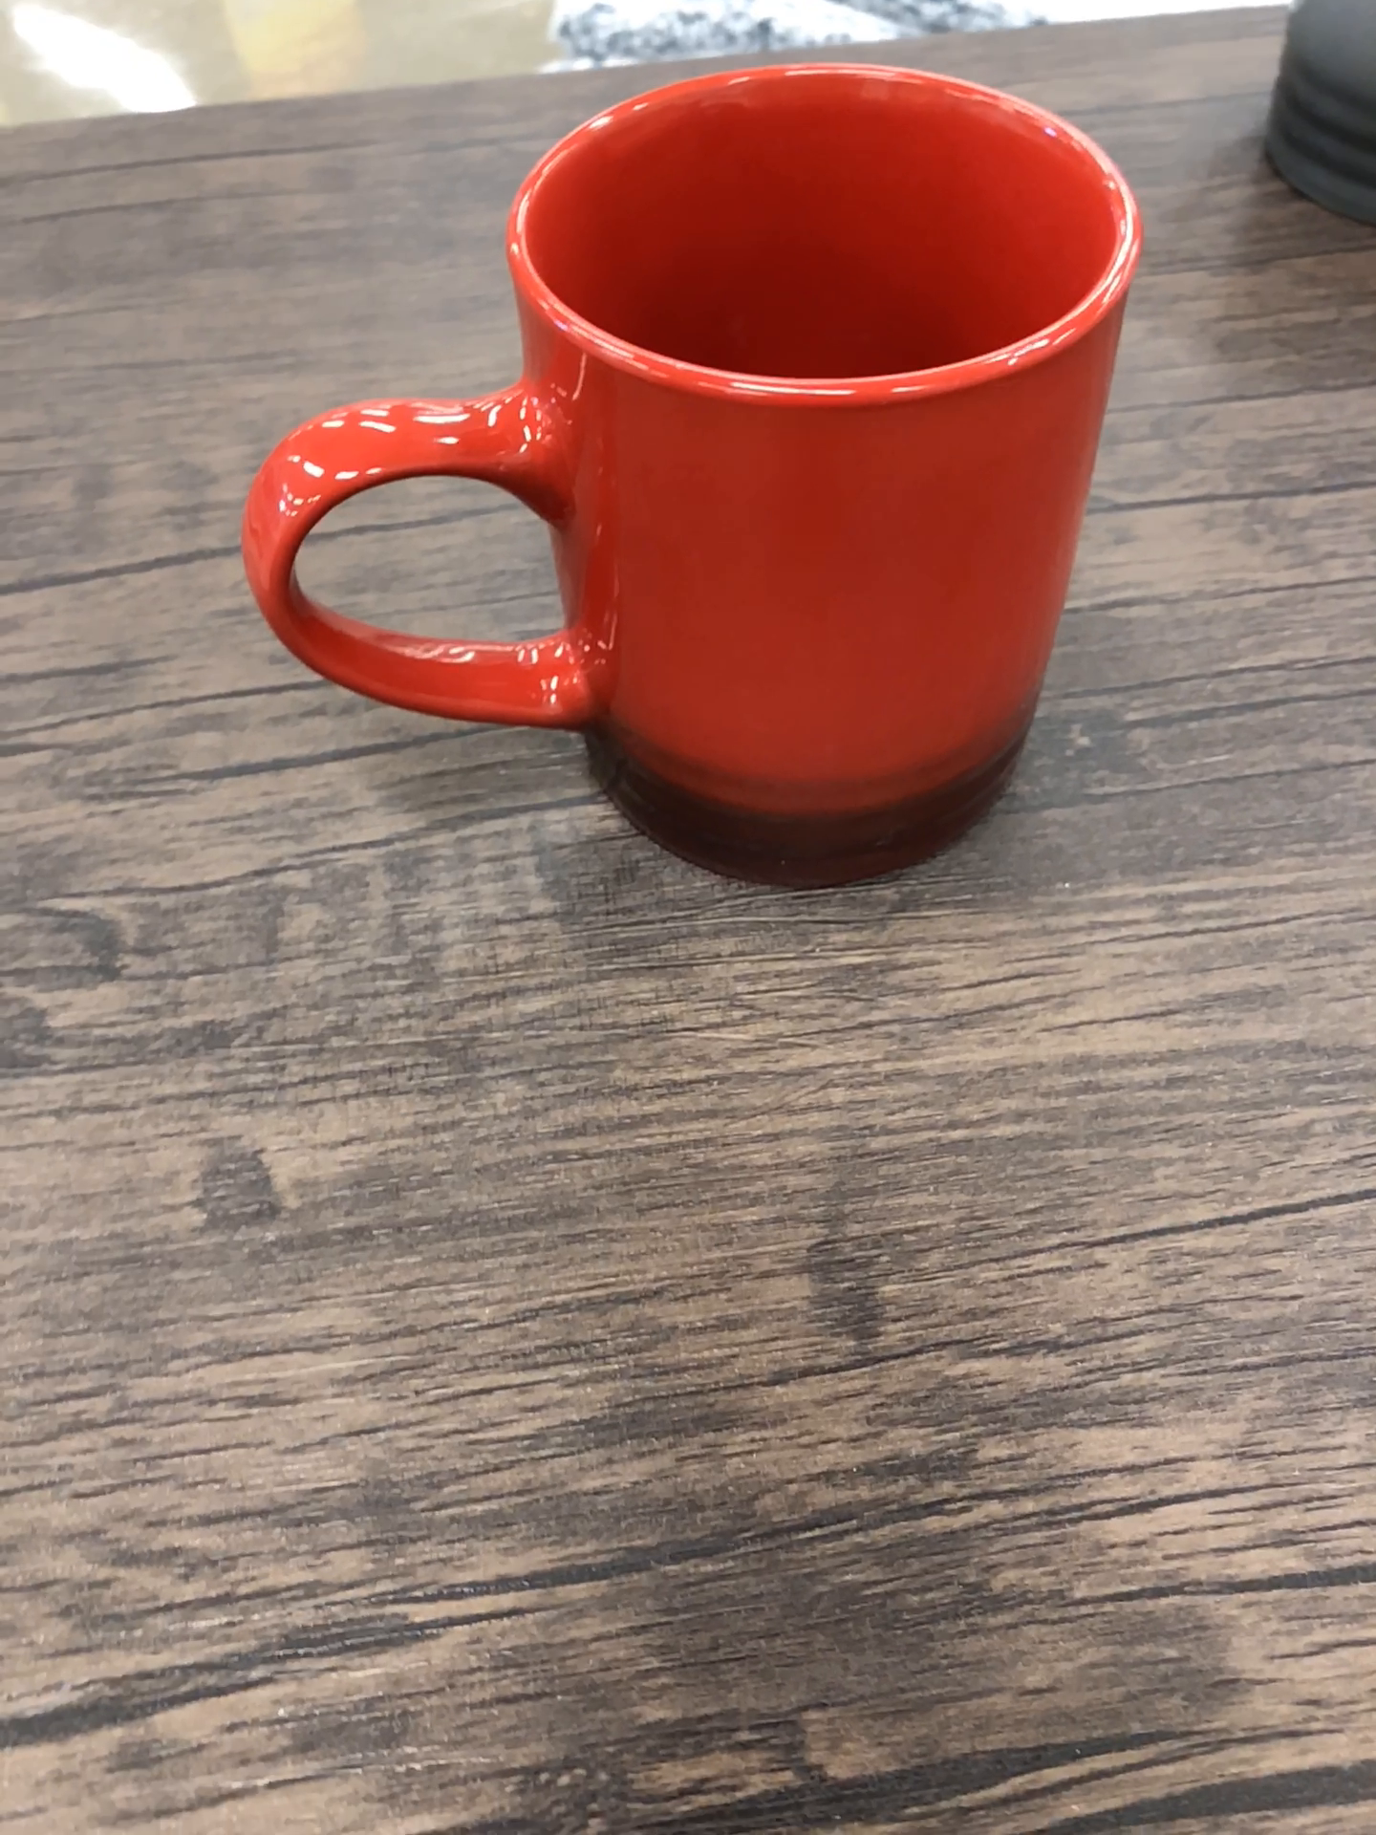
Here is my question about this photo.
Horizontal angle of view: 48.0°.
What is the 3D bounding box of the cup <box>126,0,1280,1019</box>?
[{"bbox_3d":[-0.004,-0.070,0.259,0.140,0.110,0.100,-13,53,-7],"label":"cup"}]
